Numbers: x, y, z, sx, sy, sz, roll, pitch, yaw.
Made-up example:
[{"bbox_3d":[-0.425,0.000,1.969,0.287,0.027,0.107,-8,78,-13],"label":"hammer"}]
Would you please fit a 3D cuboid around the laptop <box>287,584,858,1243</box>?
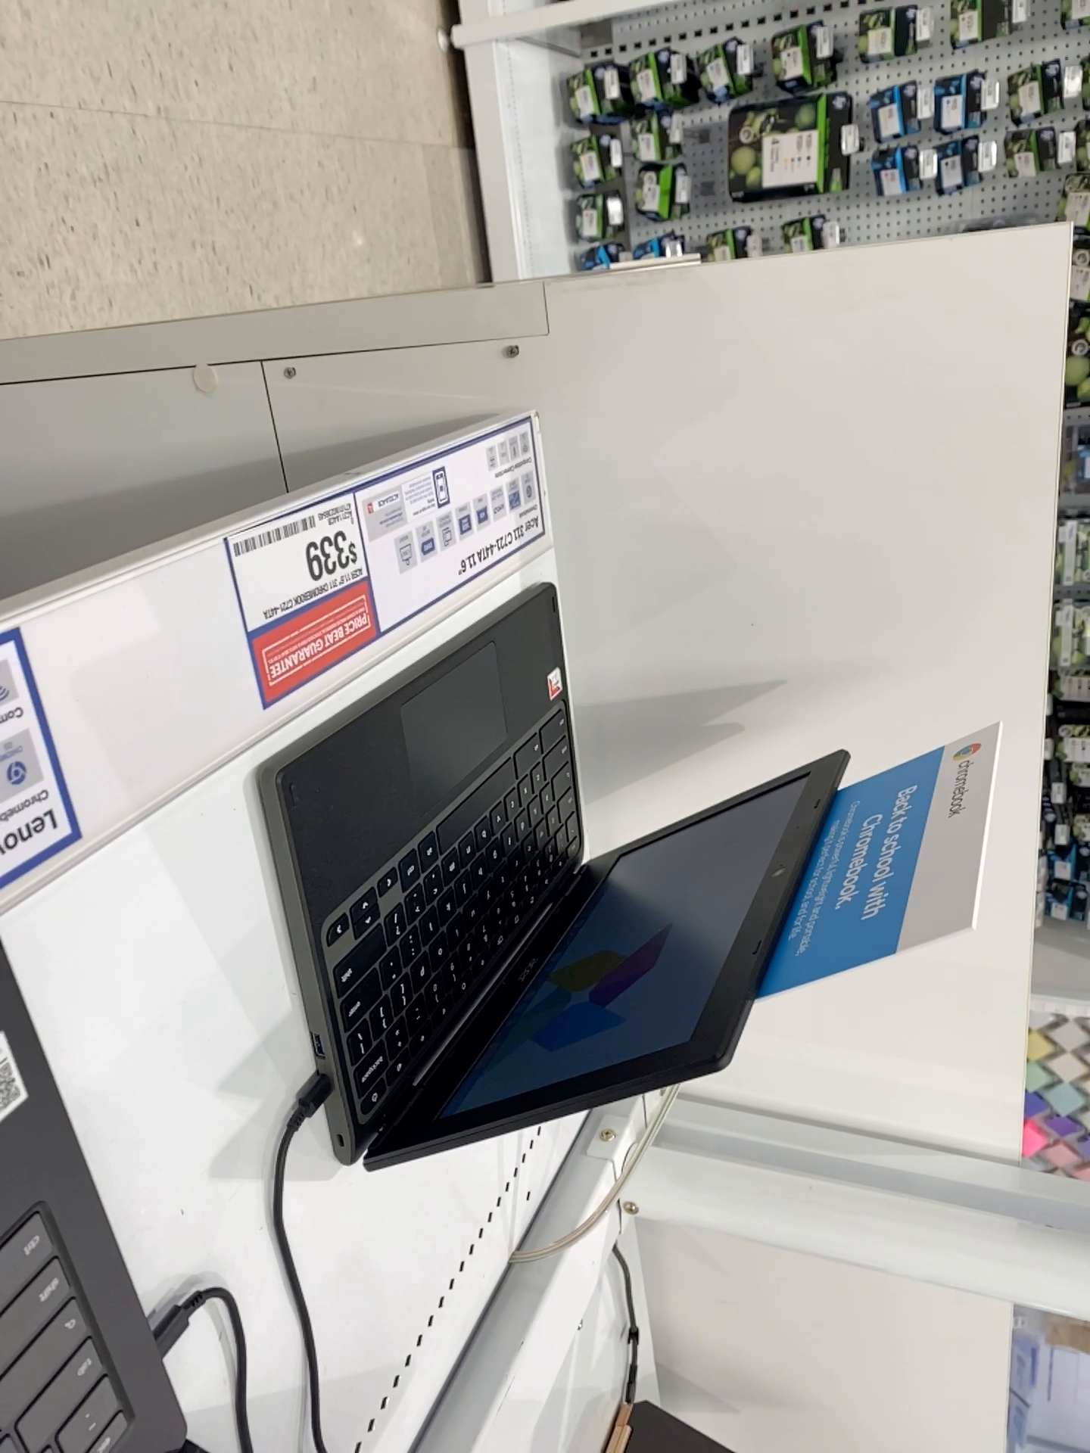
[{"bbox_3d":[0.046,0.063,0.583,0.291,0.181,0.201,-45,132,-57],"label":"laptop"}]
